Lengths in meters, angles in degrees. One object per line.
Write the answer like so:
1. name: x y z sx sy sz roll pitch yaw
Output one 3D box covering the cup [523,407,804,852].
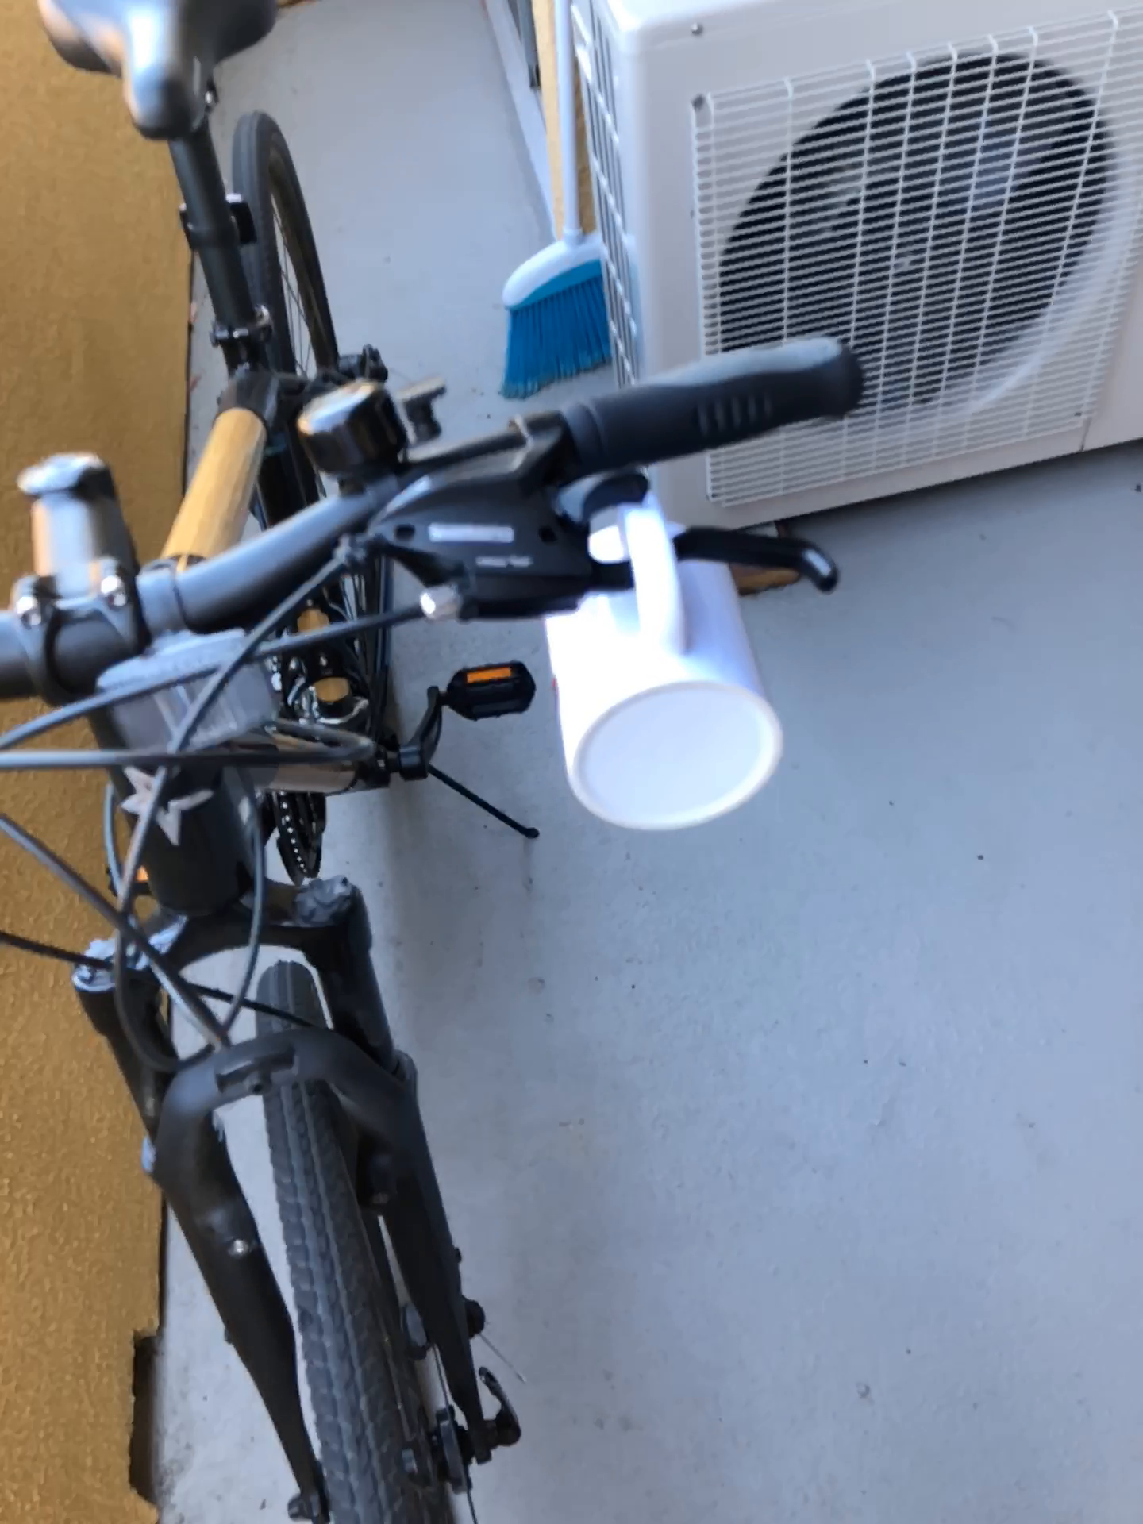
1. cup: 0.029 -0.050 0.486 0.090 0.120 0.120 -1 50 0
